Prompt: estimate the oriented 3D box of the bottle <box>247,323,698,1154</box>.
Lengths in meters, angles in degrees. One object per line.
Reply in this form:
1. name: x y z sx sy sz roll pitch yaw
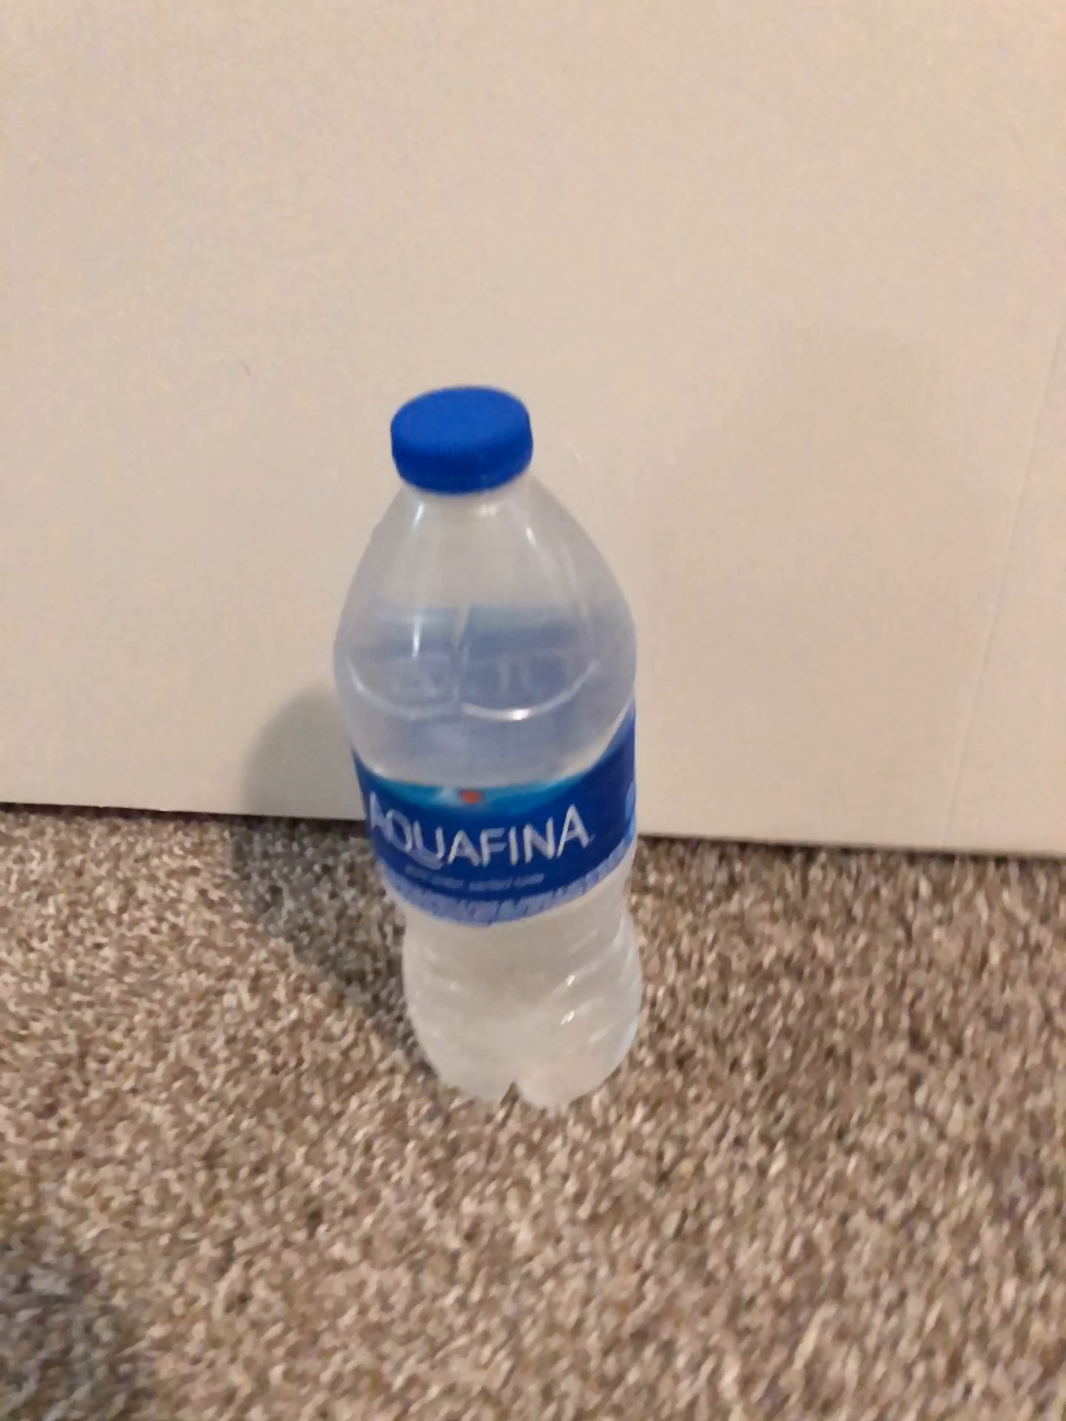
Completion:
1. bottle: -0.002 0.016 0.278 0.070 0.189 0.070 -2 39 2
